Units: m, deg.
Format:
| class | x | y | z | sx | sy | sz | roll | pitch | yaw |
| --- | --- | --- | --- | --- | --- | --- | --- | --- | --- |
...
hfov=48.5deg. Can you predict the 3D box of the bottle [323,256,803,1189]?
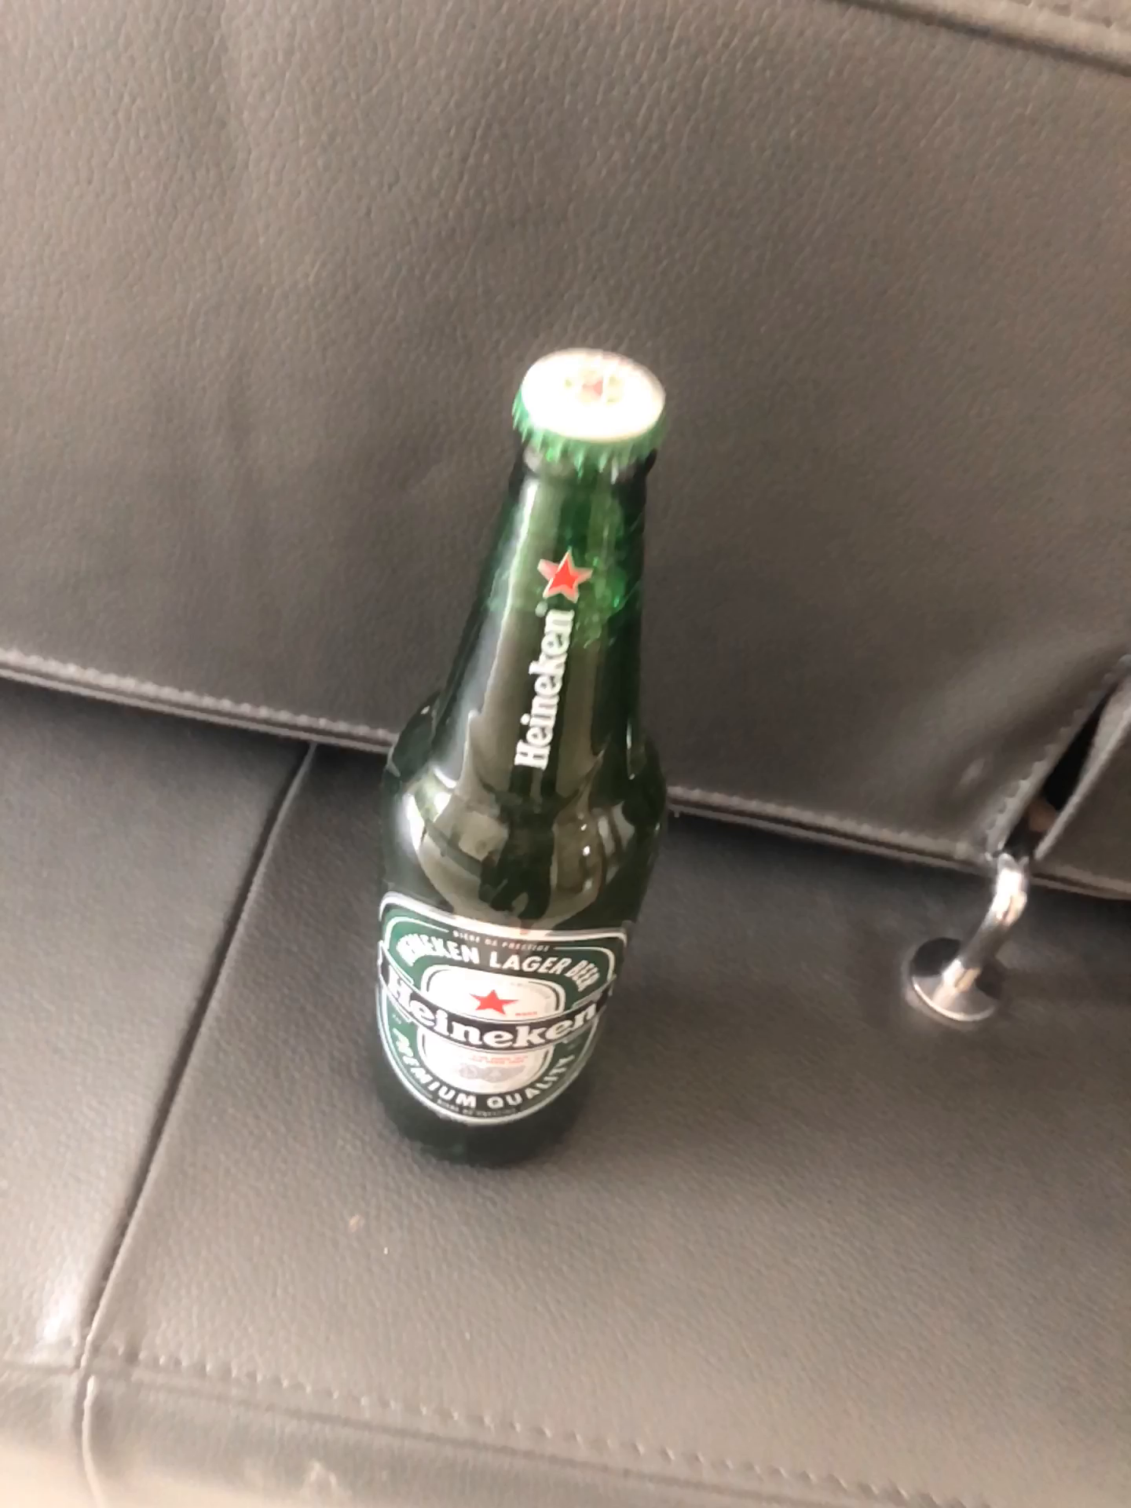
| class | x | y | z | sx | sy | sz | roll | pitch | yaw |
| --- | --- | --- | --- | --- | --- | --- | --- | --- | --- |
| bottle | -0.014 | 0.020 | 0.335 | 0.080 | 0.268 | 0.081 | 5 | 50 | -6 |
